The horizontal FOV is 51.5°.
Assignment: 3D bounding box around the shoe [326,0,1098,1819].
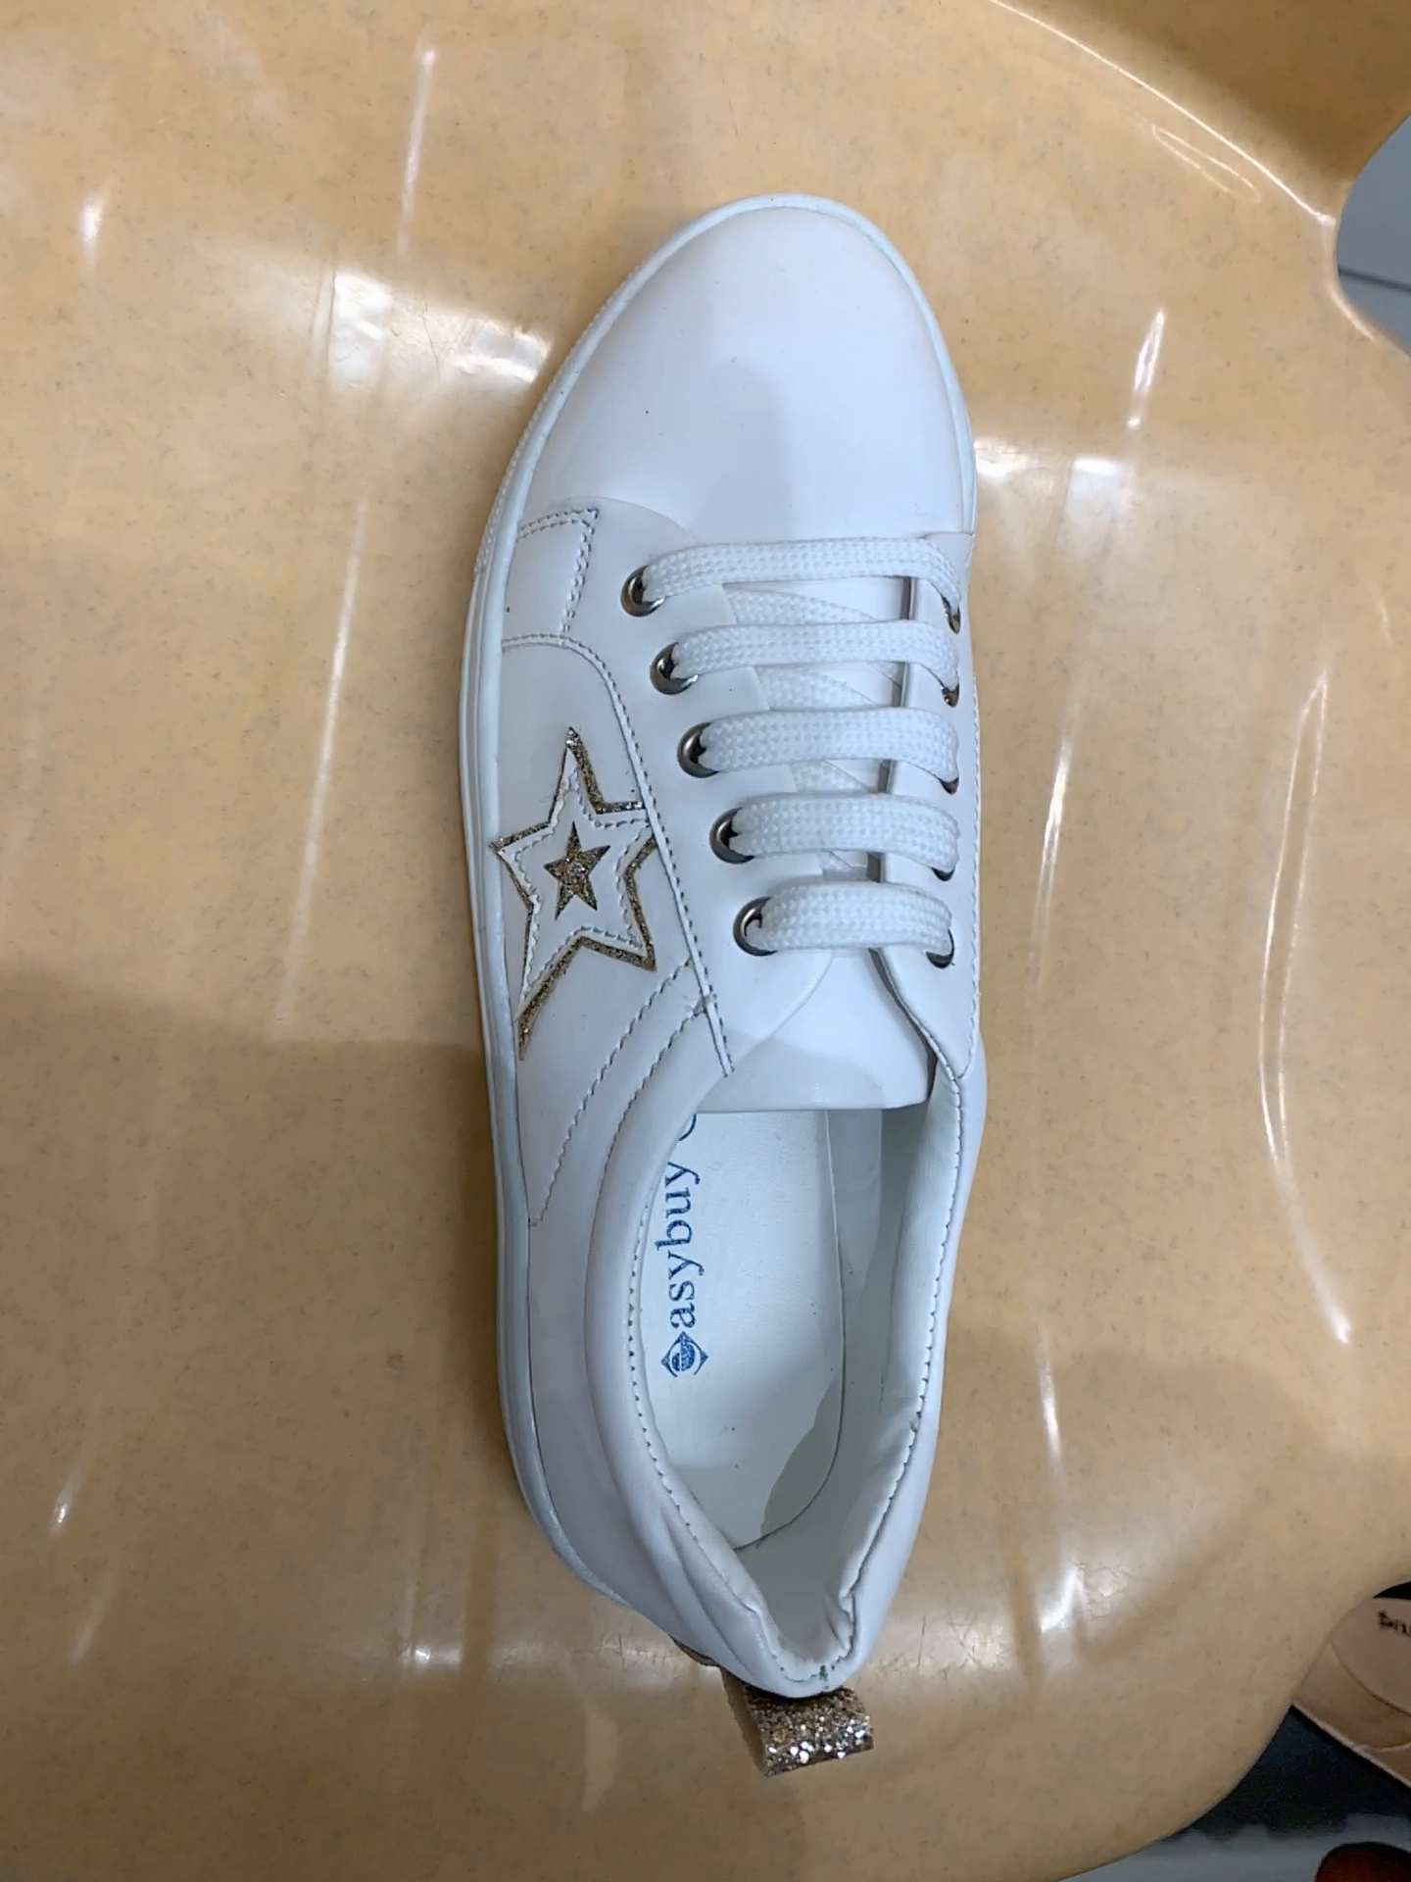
[{"bbox_3d":[-0.007,-0.004,0.241,0.090,0.090,0.240,4,91,-13],"label":"shoe"}]
